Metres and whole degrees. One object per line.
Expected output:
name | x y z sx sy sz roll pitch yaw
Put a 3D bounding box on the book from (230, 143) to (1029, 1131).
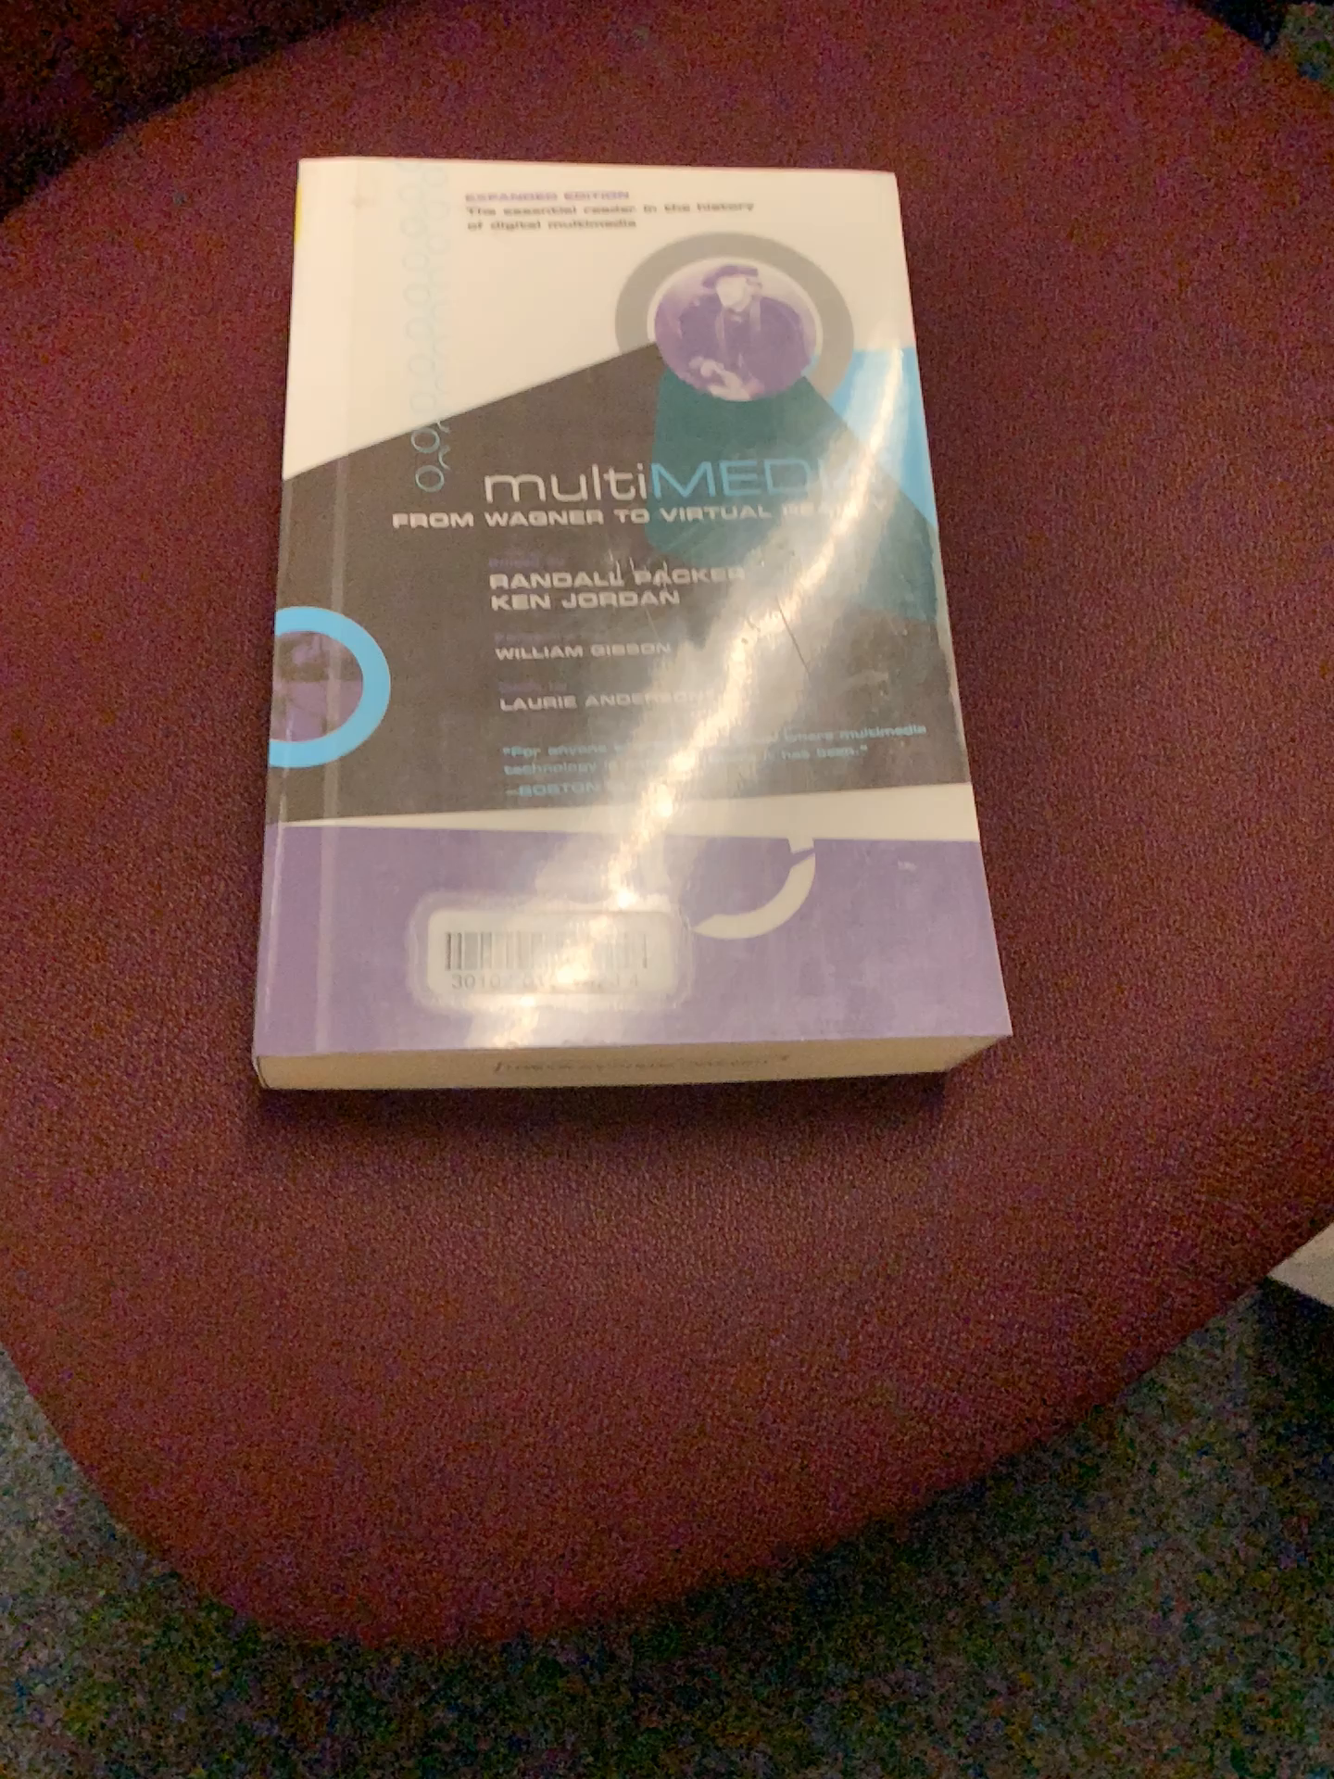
book | -0.014 -0.072 0.336 0.160 0.040 0.248 -2 69 -5
